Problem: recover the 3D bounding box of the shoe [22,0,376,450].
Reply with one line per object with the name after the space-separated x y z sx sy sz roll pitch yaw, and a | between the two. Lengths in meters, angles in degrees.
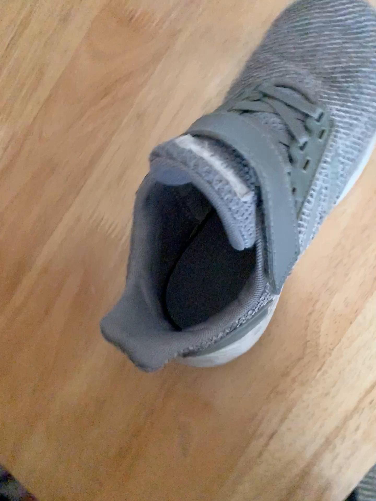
0.031 -0.043 0.186 0.090 0.080 0.220 28 90 14 | shoe
